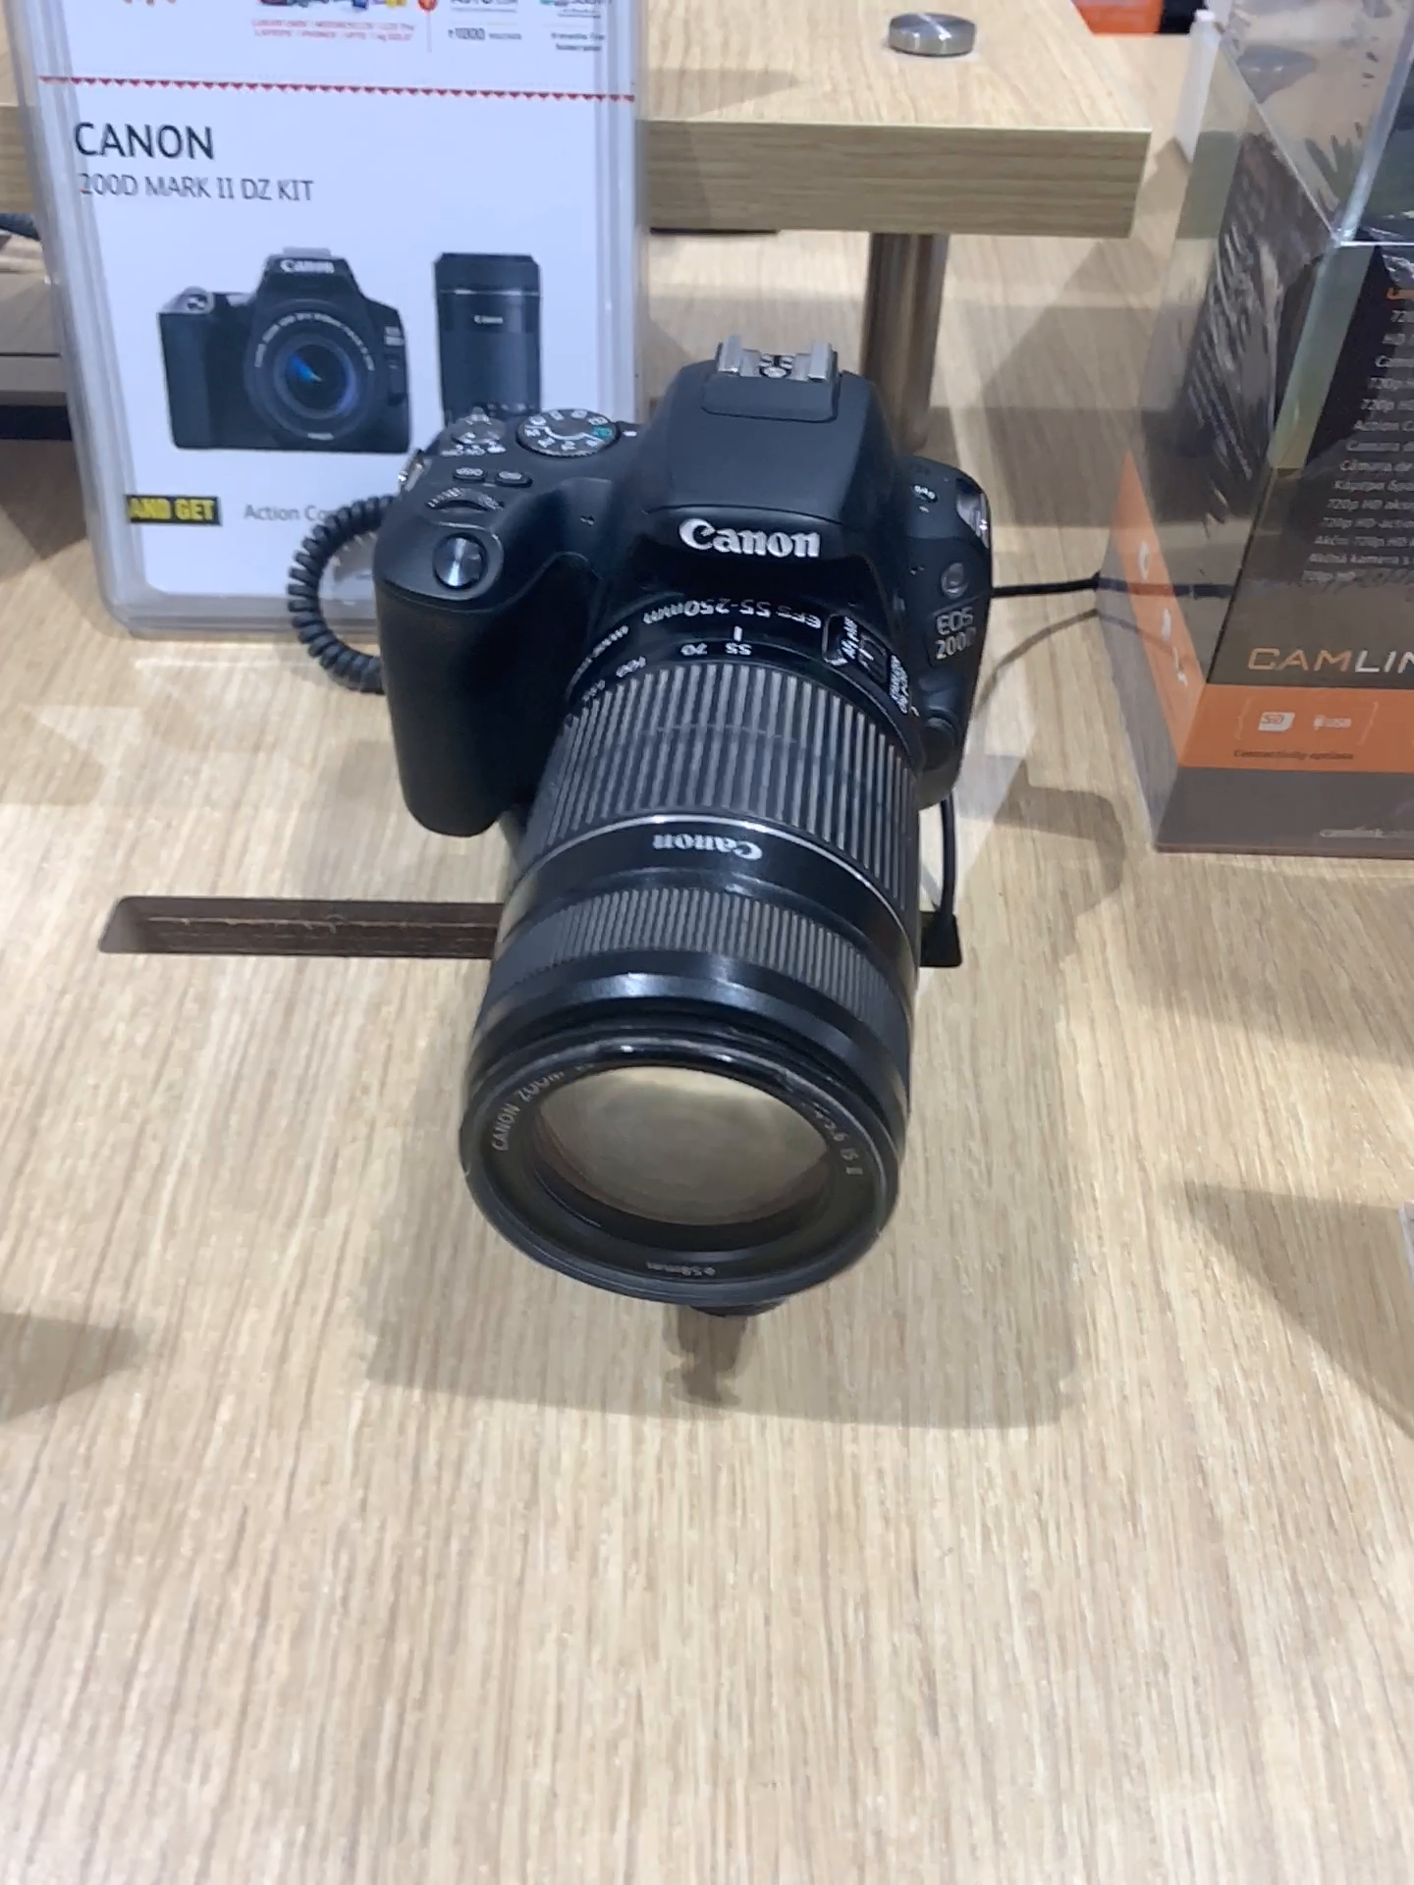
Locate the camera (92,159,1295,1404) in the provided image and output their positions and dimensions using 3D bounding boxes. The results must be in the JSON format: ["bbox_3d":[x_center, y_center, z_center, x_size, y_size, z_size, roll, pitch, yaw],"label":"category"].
[{"bbox_3d":[0.005,-0.043,0.251,0.120,0.100,0.201,4,46,3],"label":"camera"}]
